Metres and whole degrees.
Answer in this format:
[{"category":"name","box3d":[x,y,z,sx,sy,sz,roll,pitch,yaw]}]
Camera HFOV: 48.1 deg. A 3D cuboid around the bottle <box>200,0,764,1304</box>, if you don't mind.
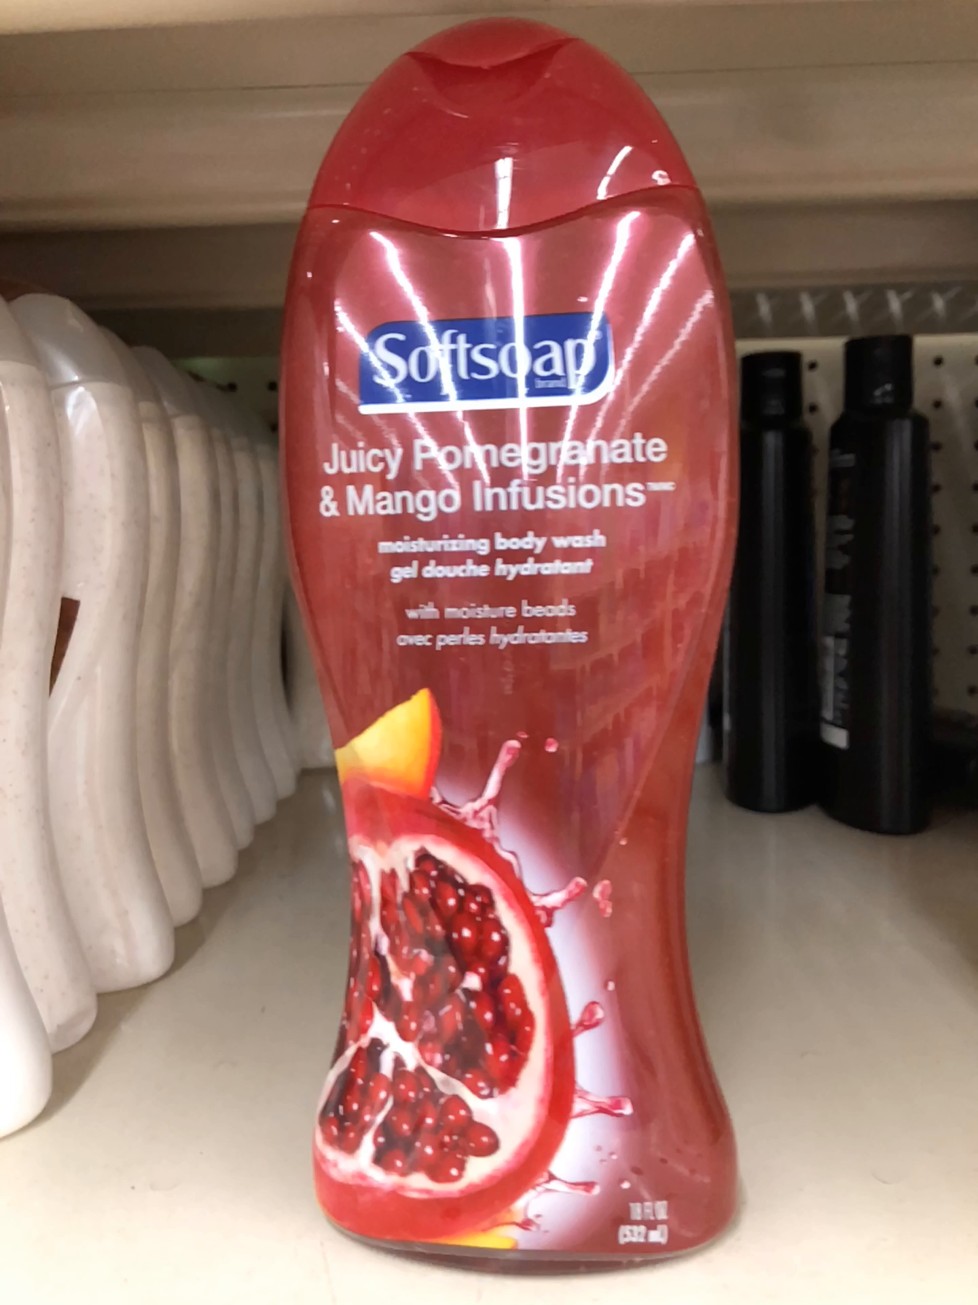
[{"category":"bottle","box3d":[0.006,0.001,0.215,0.090,0.230,0.060,0,8,13]}]
